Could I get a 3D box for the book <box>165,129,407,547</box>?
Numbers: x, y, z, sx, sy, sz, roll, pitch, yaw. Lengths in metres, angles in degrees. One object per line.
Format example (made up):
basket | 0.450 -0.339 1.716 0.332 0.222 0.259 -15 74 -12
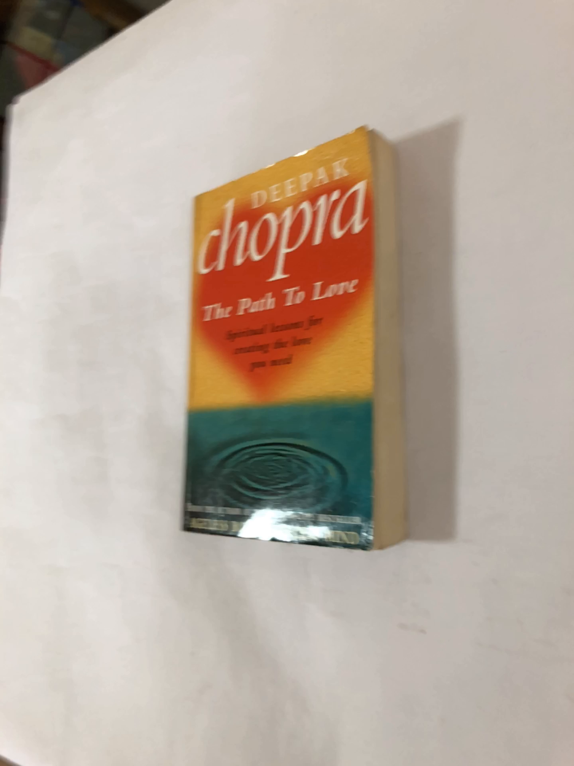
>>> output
book | -0.003 -0.018 0.355 0.131 0.040 0.200 -6 78 38
